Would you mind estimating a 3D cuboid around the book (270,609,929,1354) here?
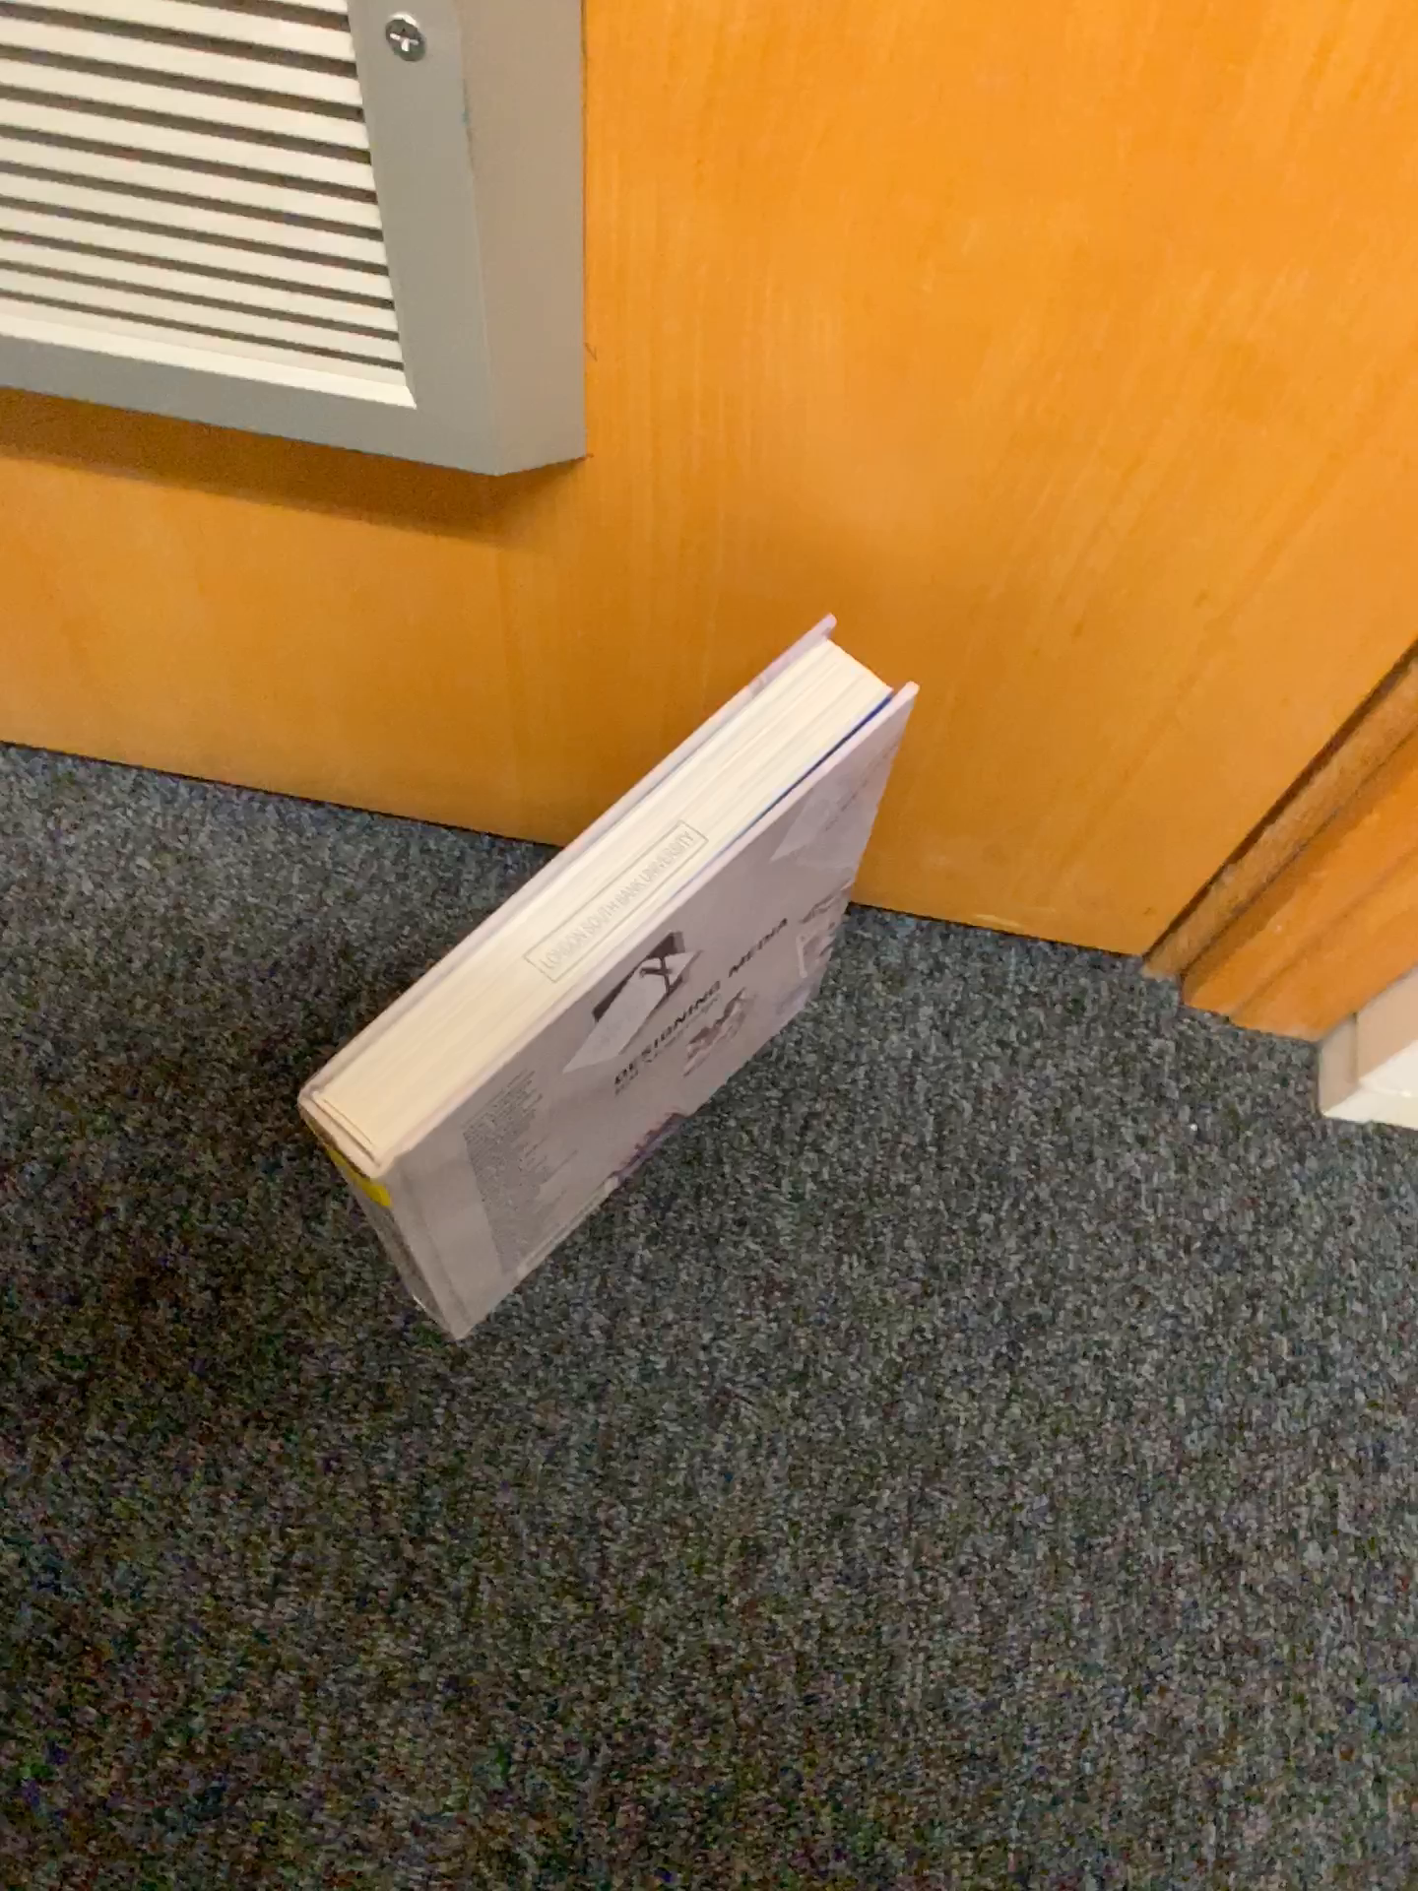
[{"bbox_3d":[-0.031,0.028,0.496,0.040,0.232,0.211,41,69,13],"label":"book"}]
